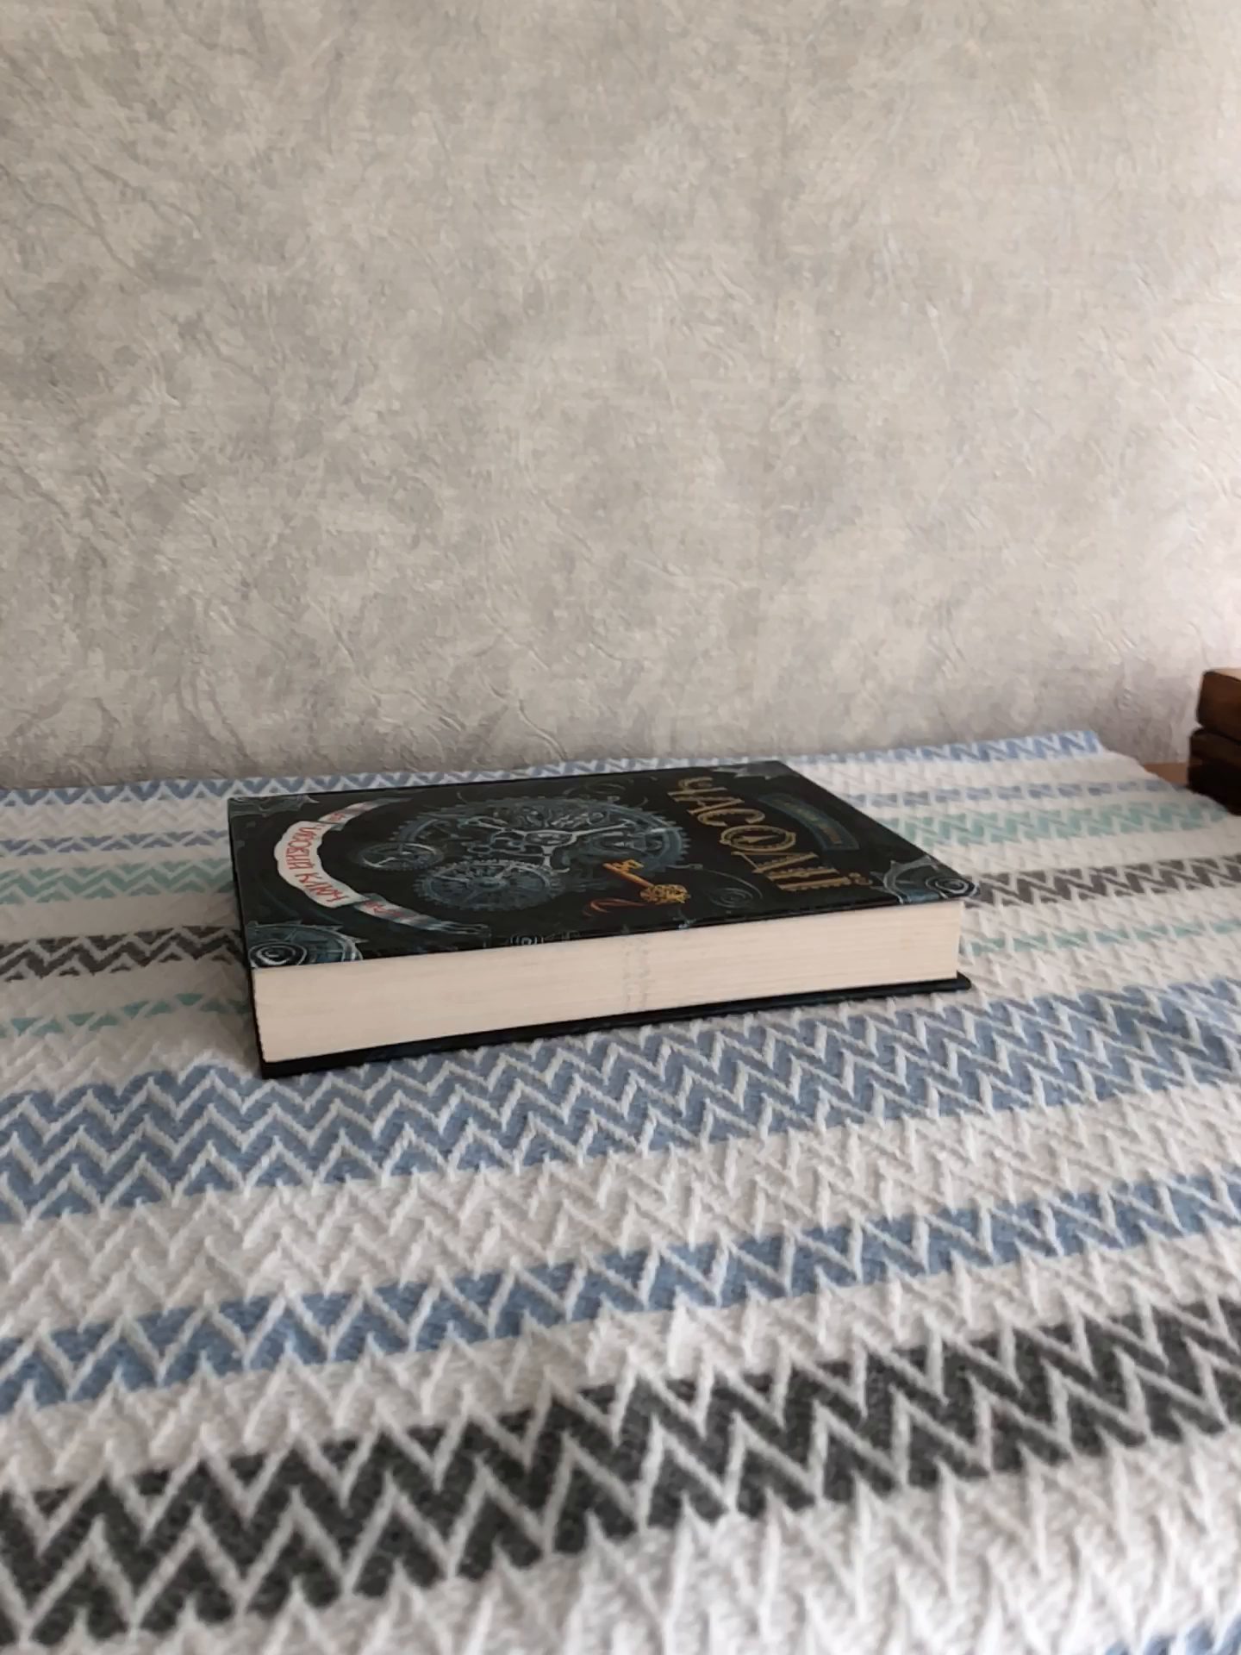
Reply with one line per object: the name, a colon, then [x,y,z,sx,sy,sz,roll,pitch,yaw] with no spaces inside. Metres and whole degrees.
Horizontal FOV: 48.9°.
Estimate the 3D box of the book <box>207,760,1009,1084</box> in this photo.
book: [-0.018,0.020,0.480,0.238,0.032,0.178,-4,18,-17]
